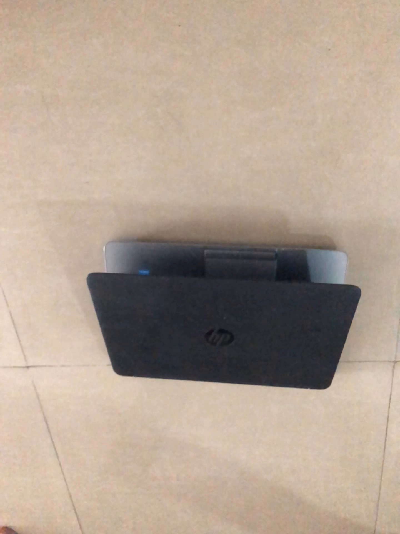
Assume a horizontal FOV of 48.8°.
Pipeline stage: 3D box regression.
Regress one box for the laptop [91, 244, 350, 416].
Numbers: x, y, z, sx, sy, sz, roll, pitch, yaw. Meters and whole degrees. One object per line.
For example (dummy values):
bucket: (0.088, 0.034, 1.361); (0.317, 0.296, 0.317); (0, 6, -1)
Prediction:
laptop: (0.025, 0.087, 0.607); (0.304, 0.085, 0.214); (2, 119, 5)
